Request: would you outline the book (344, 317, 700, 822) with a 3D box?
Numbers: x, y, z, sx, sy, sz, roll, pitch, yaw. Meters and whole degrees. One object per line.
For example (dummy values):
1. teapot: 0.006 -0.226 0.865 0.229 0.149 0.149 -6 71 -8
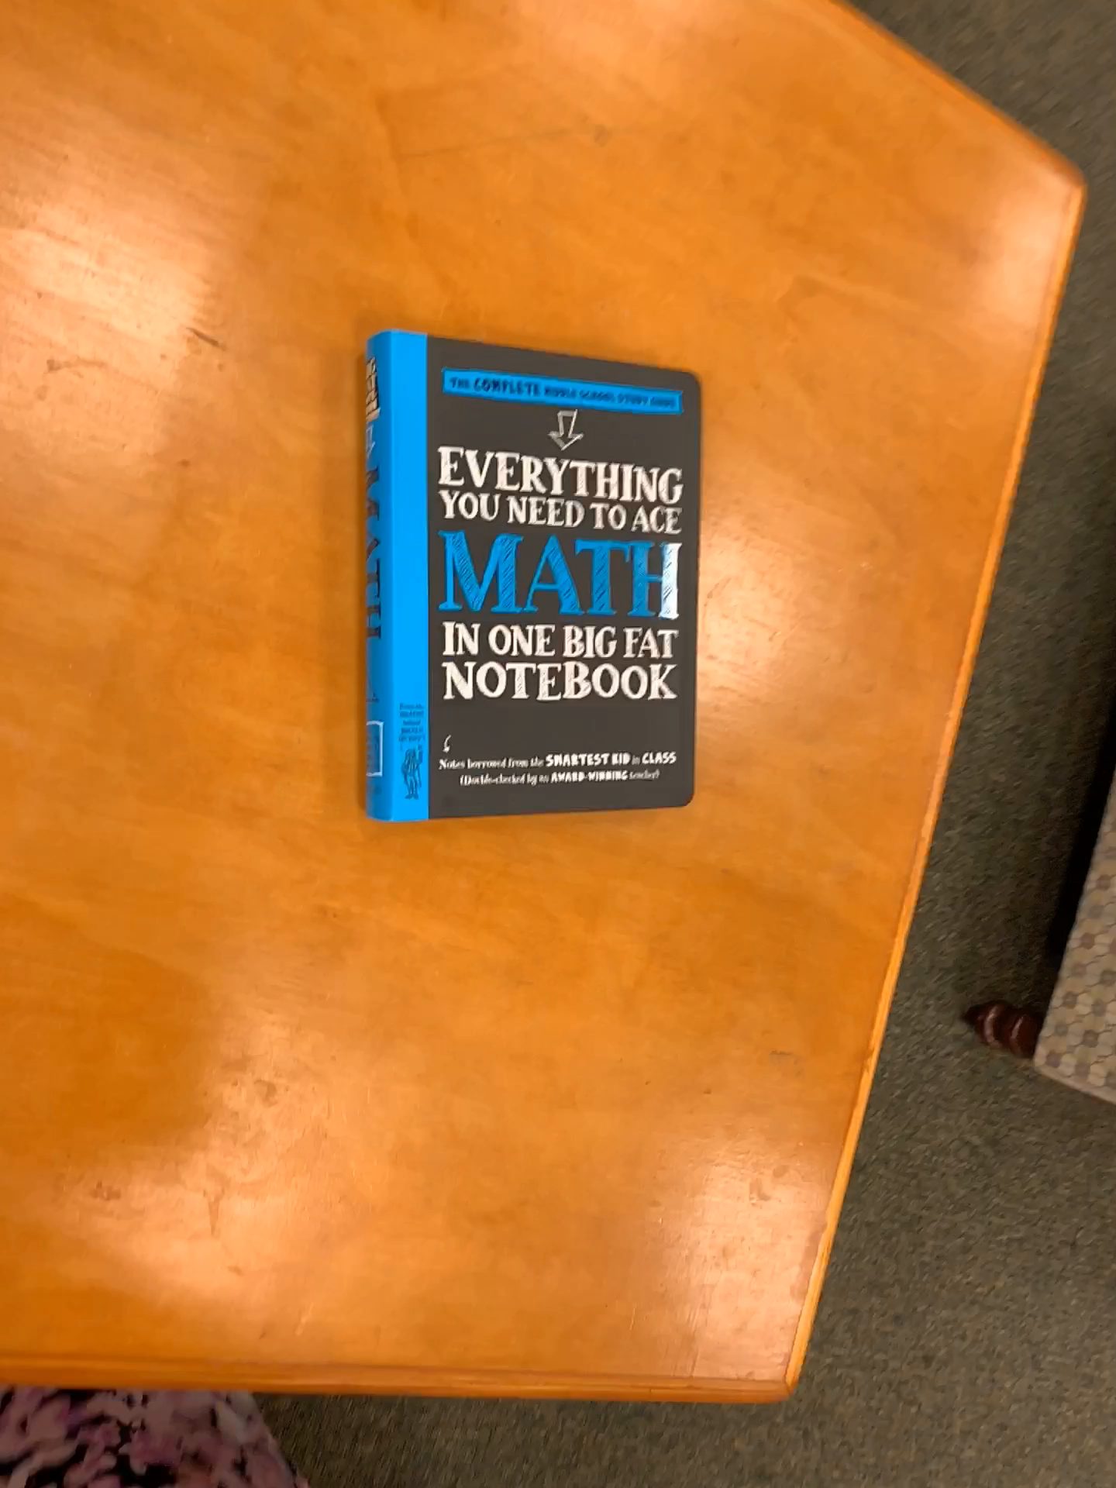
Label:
1. book: -0.015 -0.074 0.530 0.160 0.040 0.210 -1 93 -24
